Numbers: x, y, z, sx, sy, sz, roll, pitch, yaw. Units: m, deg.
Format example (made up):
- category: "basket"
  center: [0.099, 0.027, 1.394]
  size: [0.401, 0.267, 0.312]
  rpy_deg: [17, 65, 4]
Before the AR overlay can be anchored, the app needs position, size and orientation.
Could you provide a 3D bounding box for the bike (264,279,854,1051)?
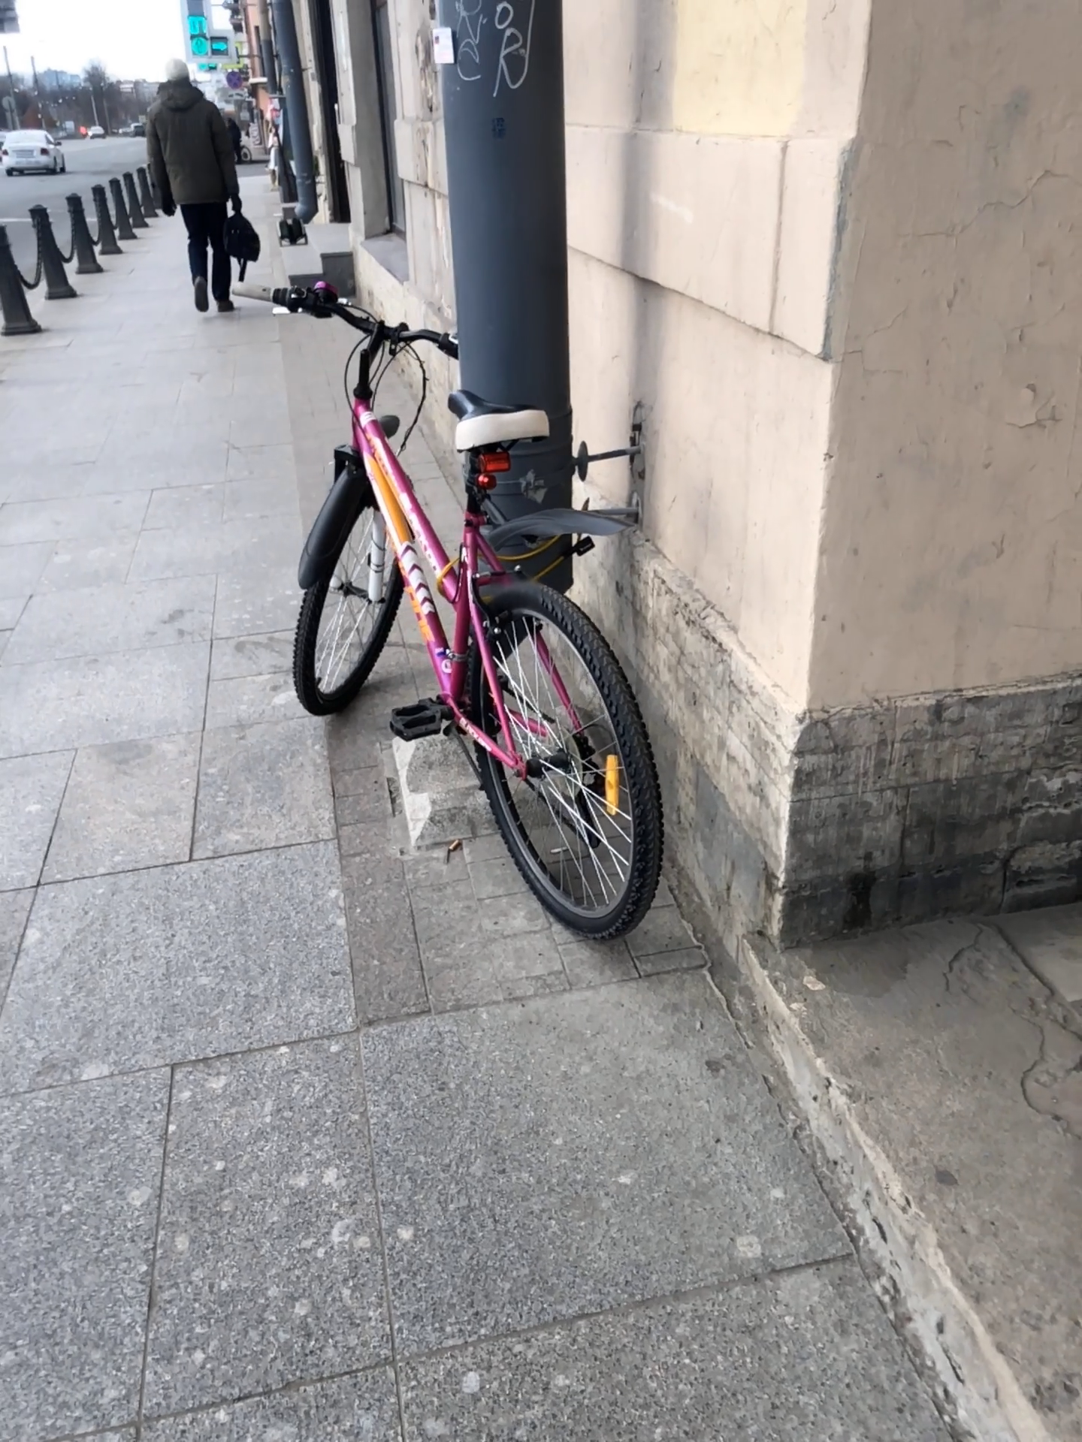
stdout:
- category: "bike"
  center: [-0.093, -0.308, 2.393]
  size: [0.622, 0.974, 1.583]
  rpy_deg: [-11, 26, -17]
